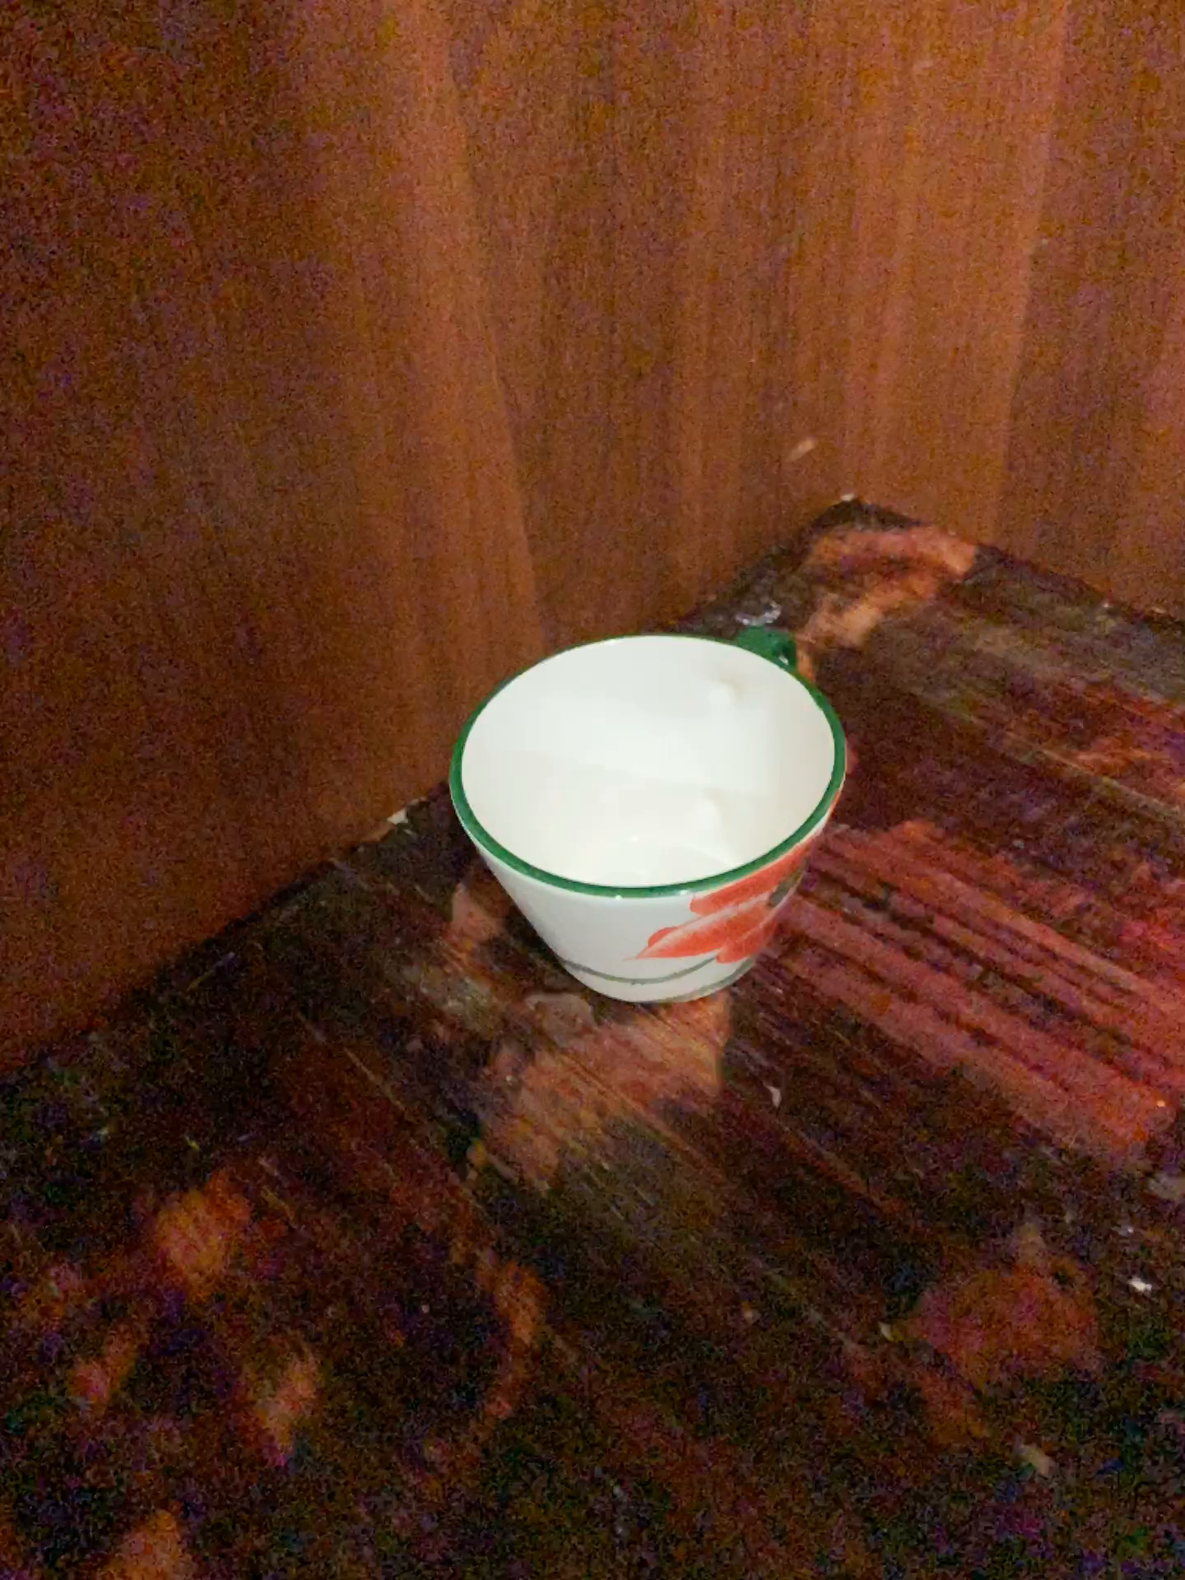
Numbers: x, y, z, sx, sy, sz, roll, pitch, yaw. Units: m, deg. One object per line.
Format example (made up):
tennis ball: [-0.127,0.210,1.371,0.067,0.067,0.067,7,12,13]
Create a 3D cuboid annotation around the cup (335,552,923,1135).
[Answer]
cup: [0.012,0.004,0.247,0.075,0.045,0.095,18,50,24]
